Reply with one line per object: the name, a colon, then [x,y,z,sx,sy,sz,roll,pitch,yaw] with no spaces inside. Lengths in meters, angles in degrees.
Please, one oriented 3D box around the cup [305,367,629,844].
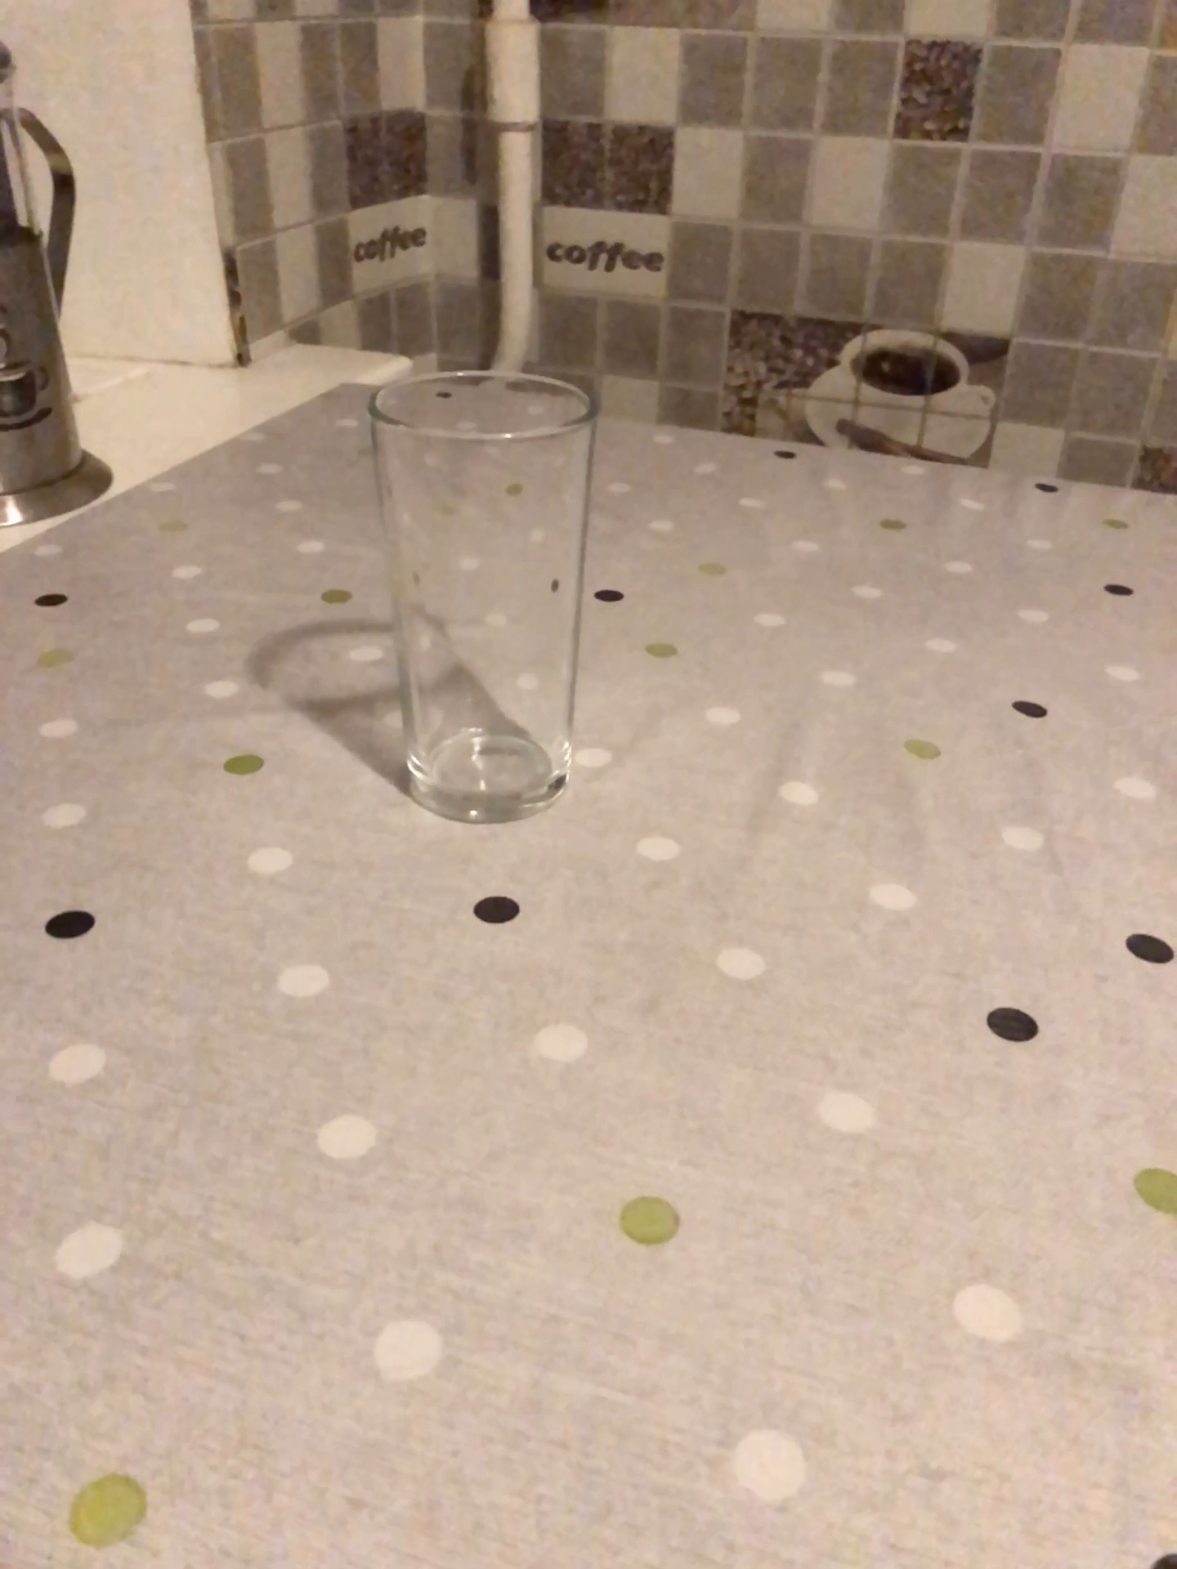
cup: [-0.033,-0.056,0.393,0.069,0.117,0.068,1,32,-1]
